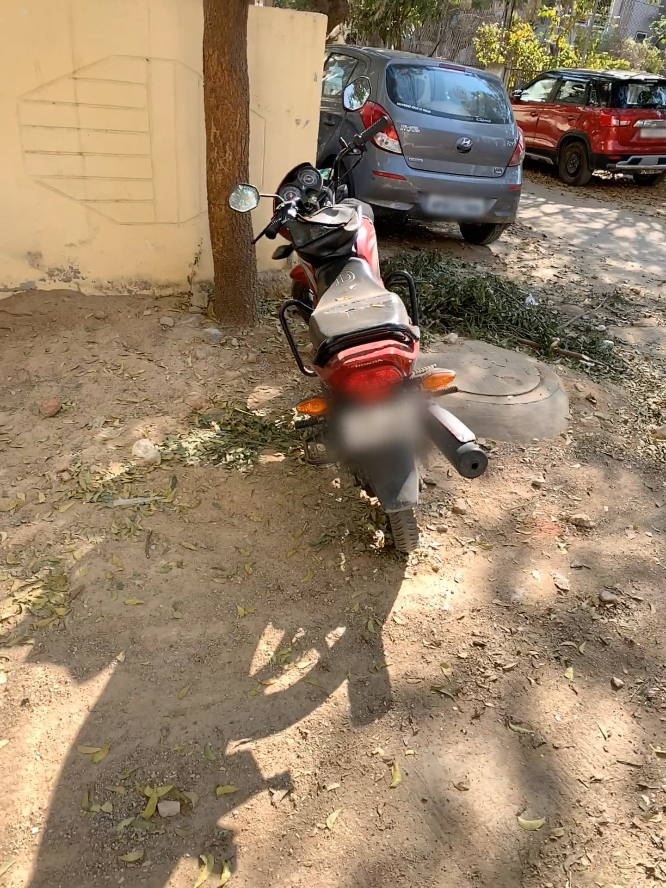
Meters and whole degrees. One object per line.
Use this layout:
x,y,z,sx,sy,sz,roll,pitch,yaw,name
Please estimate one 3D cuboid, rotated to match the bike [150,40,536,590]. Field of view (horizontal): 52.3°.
-0.182,-0.578,2.387,0.775,1.178,1.650,-3,35,-14,bike
